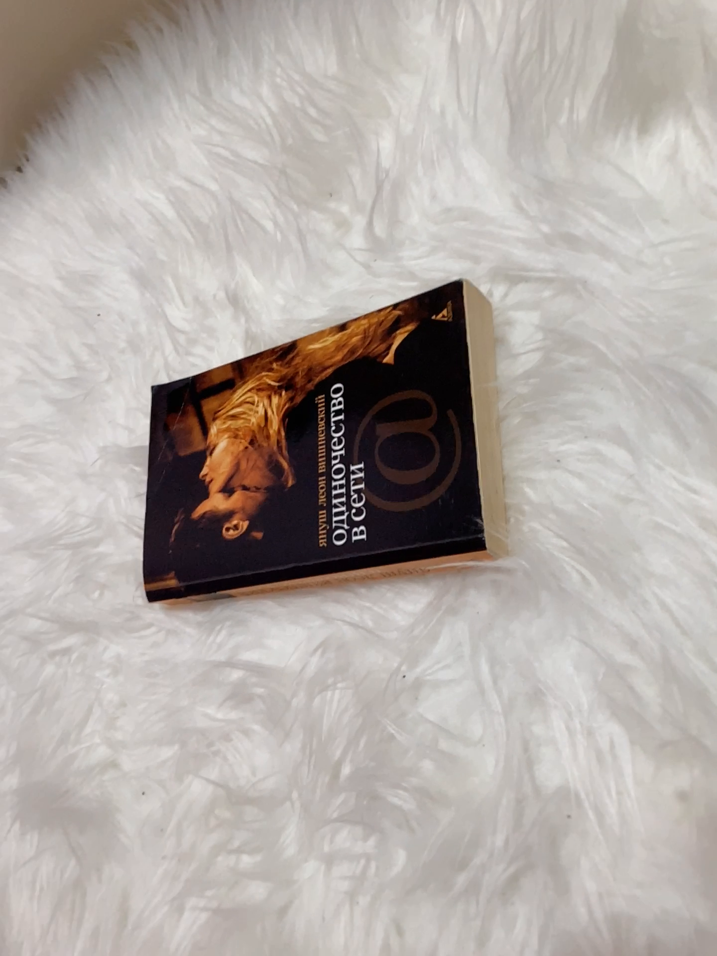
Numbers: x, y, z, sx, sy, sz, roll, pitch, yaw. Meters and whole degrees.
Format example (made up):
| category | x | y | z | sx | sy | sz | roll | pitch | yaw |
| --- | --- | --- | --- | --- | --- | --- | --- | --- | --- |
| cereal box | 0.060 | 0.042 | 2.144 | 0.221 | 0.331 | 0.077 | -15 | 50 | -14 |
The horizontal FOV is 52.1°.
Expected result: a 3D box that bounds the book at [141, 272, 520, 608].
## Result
| category | x | y | z | sx | sy | sz | roll | pitch | yaw |
| --- | --- | --- | --- | --- | --- | --- | --- | --- | --- |
| book | -0.022 | -0.009 | 0.335 | 0.177 | 0.030 | 0.113 | -13 | 69 | 29 |
